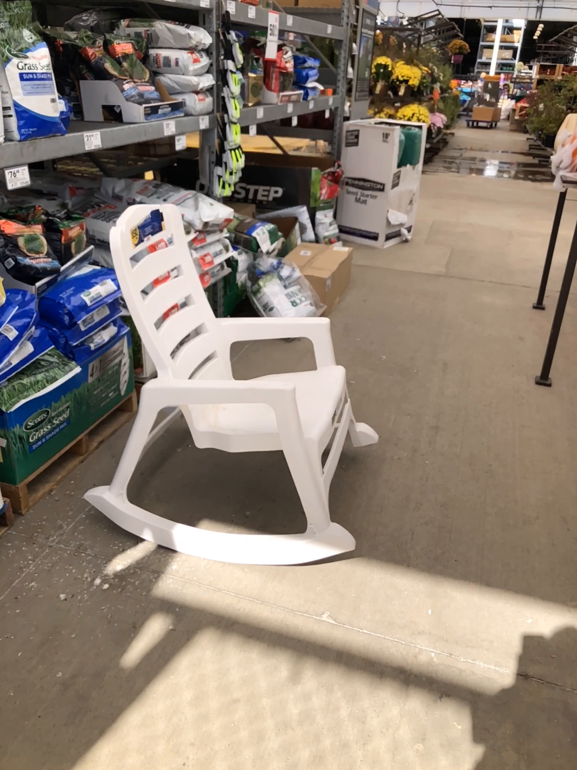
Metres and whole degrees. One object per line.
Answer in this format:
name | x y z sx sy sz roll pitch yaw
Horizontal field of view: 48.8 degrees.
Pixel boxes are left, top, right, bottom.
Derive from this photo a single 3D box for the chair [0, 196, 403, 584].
chair | -0.201 -0.069 2.146 1.031 0.928 0.848 7 24 10
